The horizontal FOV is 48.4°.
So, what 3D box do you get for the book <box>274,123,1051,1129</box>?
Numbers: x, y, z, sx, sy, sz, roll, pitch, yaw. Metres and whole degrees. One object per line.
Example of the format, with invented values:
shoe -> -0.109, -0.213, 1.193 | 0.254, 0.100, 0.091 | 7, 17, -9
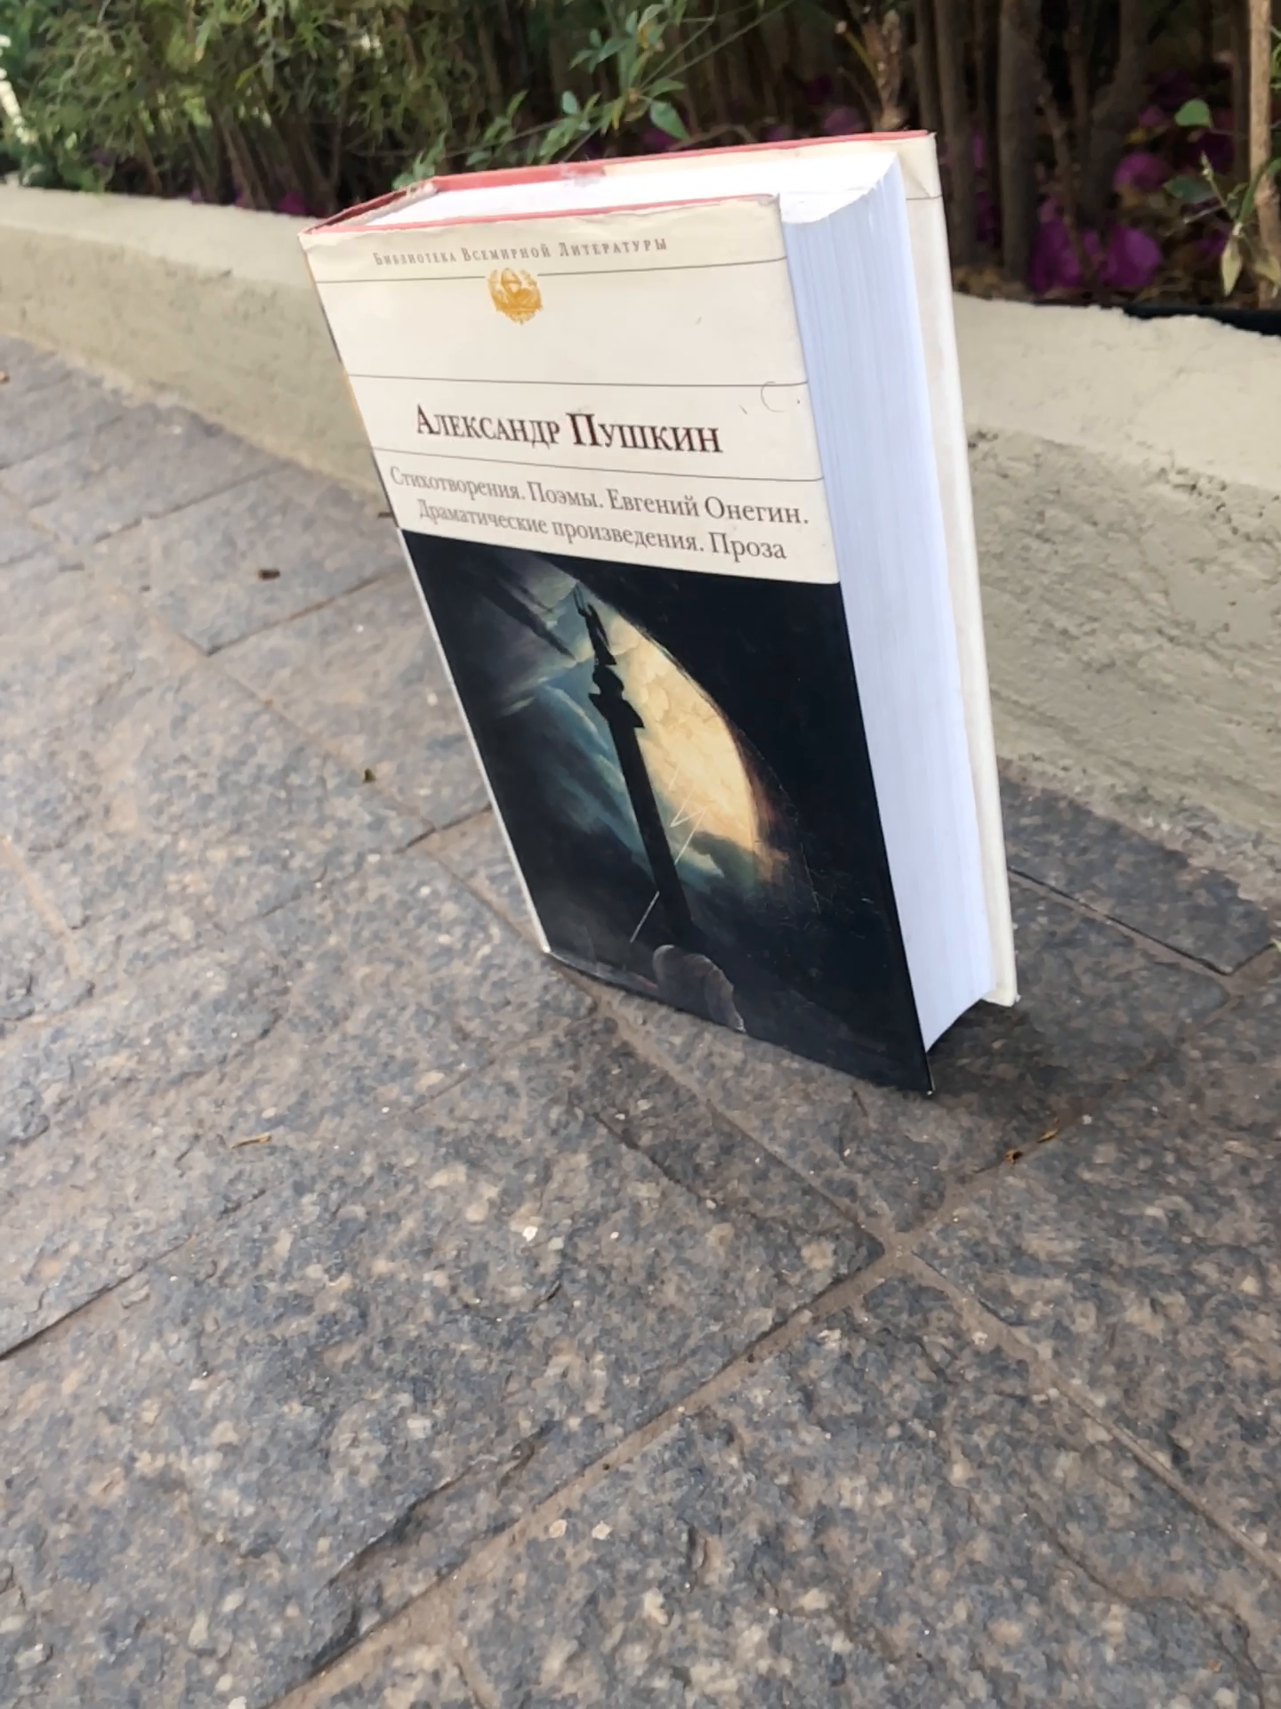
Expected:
book -> 0.012, -0.050, 0.338 | 0.151, 0.203, 0.050 | 16, 43, 37
